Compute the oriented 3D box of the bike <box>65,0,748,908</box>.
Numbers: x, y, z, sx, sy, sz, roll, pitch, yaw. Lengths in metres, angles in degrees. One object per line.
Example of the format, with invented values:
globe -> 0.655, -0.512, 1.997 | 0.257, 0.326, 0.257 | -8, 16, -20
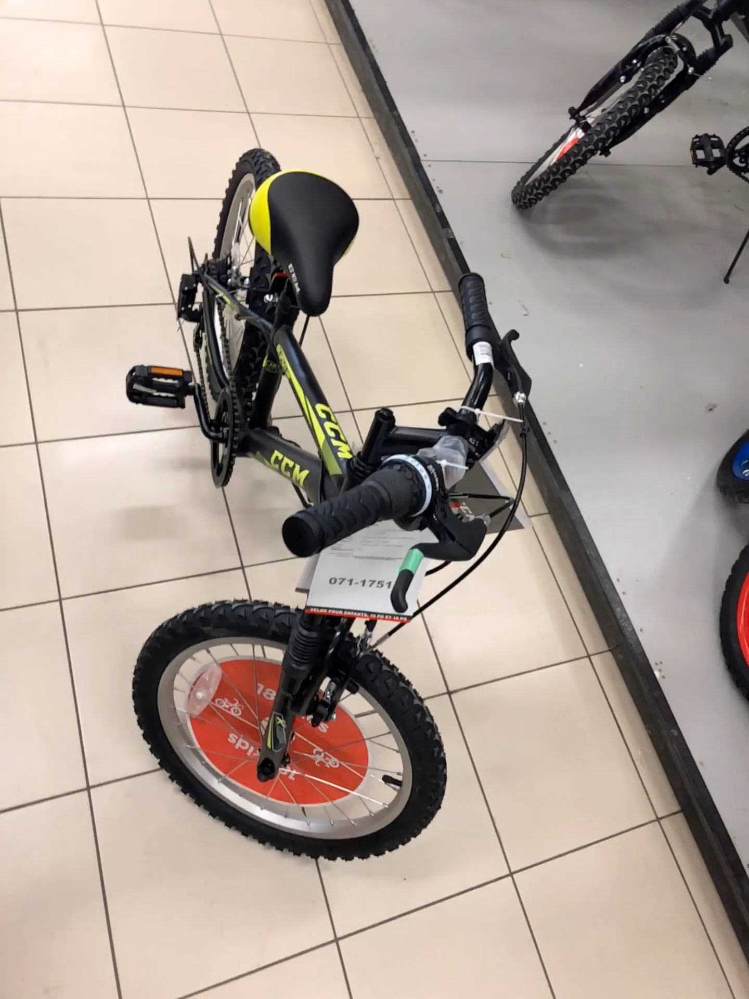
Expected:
bike -> -0.063, -0.163, 1.171 | 0.550, 0.862, 1.196 | -7, 63, -22
